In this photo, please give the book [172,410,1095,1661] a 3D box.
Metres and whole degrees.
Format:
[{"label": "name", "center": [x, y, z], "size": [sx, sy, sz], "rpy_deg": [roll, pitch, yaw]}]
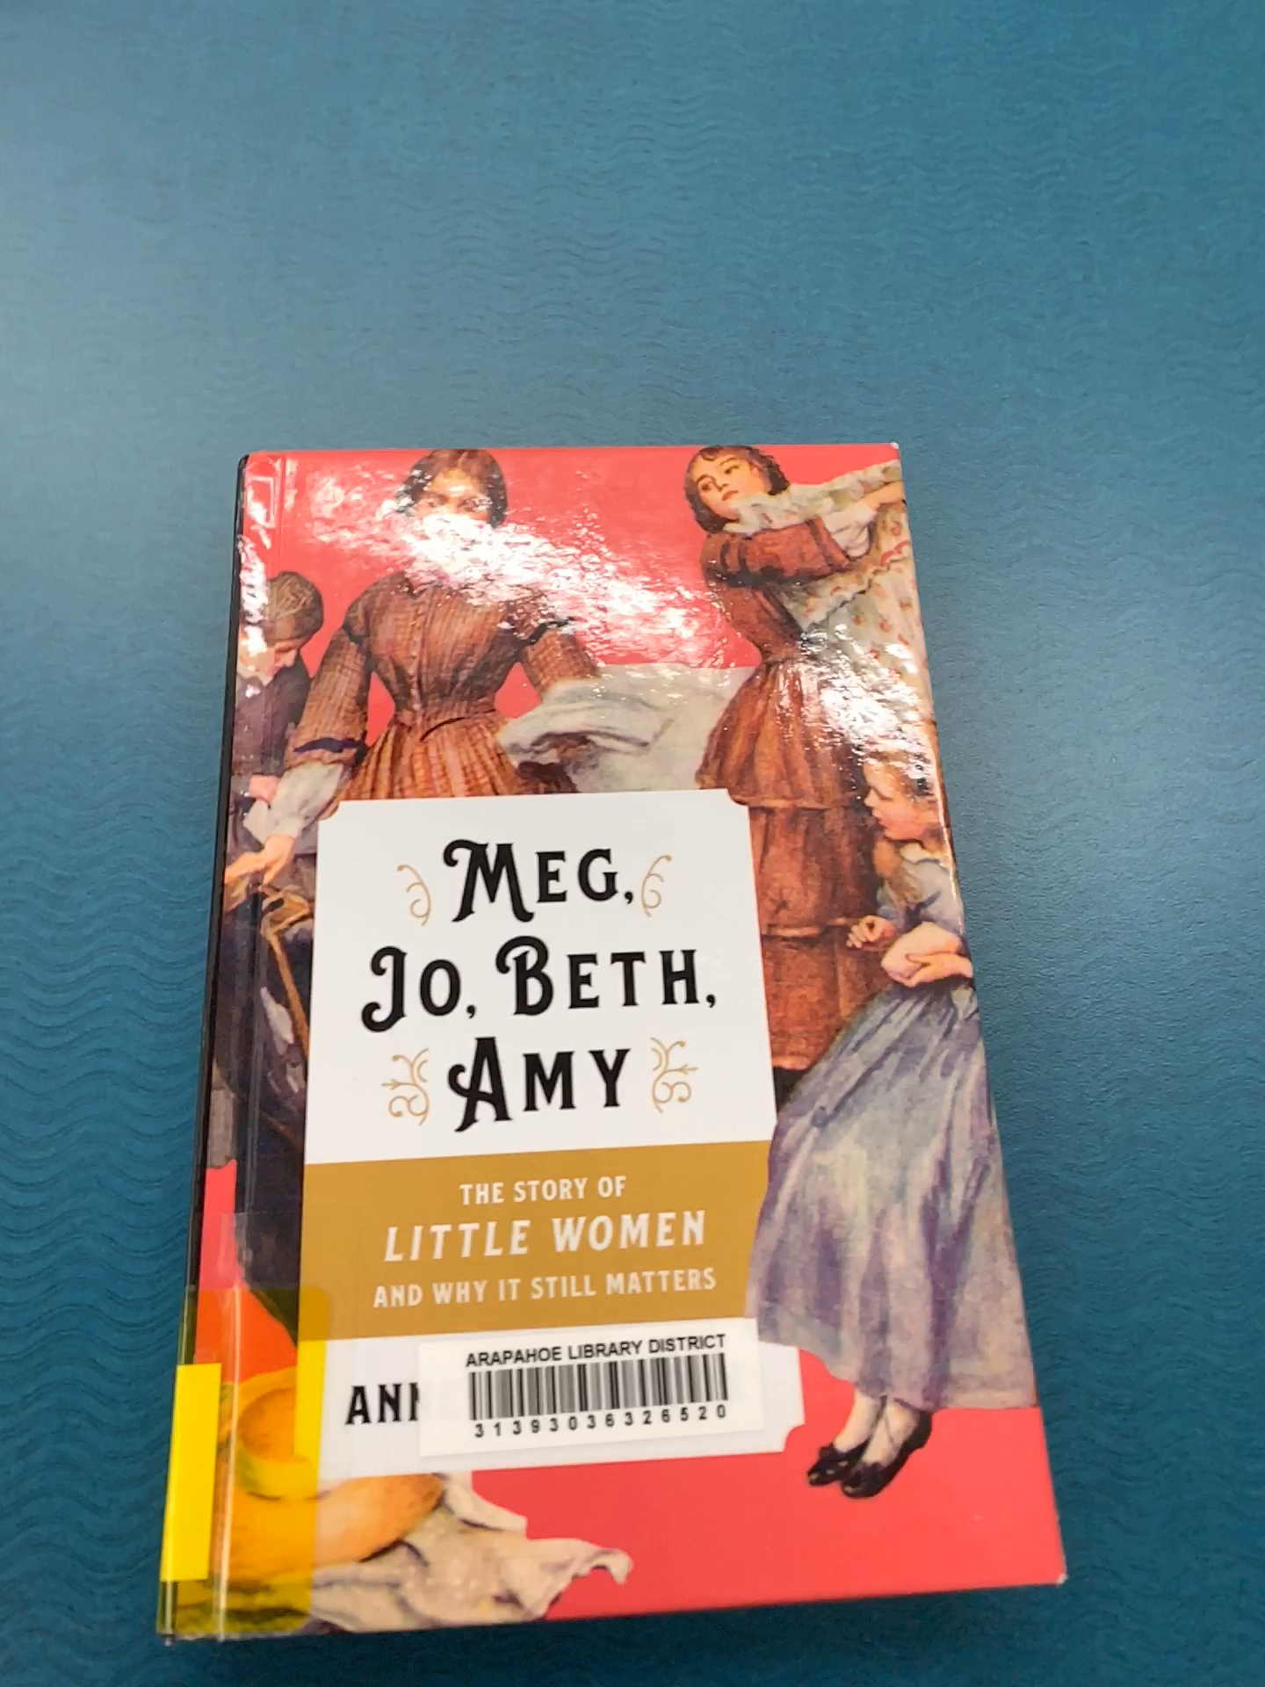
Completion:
[{"label": "book", "center": [-0.005, 0.022, 0.253], "size": [0.140, 0.040, 0.220], "rpy_deg": [-2, 70, -3]}]
